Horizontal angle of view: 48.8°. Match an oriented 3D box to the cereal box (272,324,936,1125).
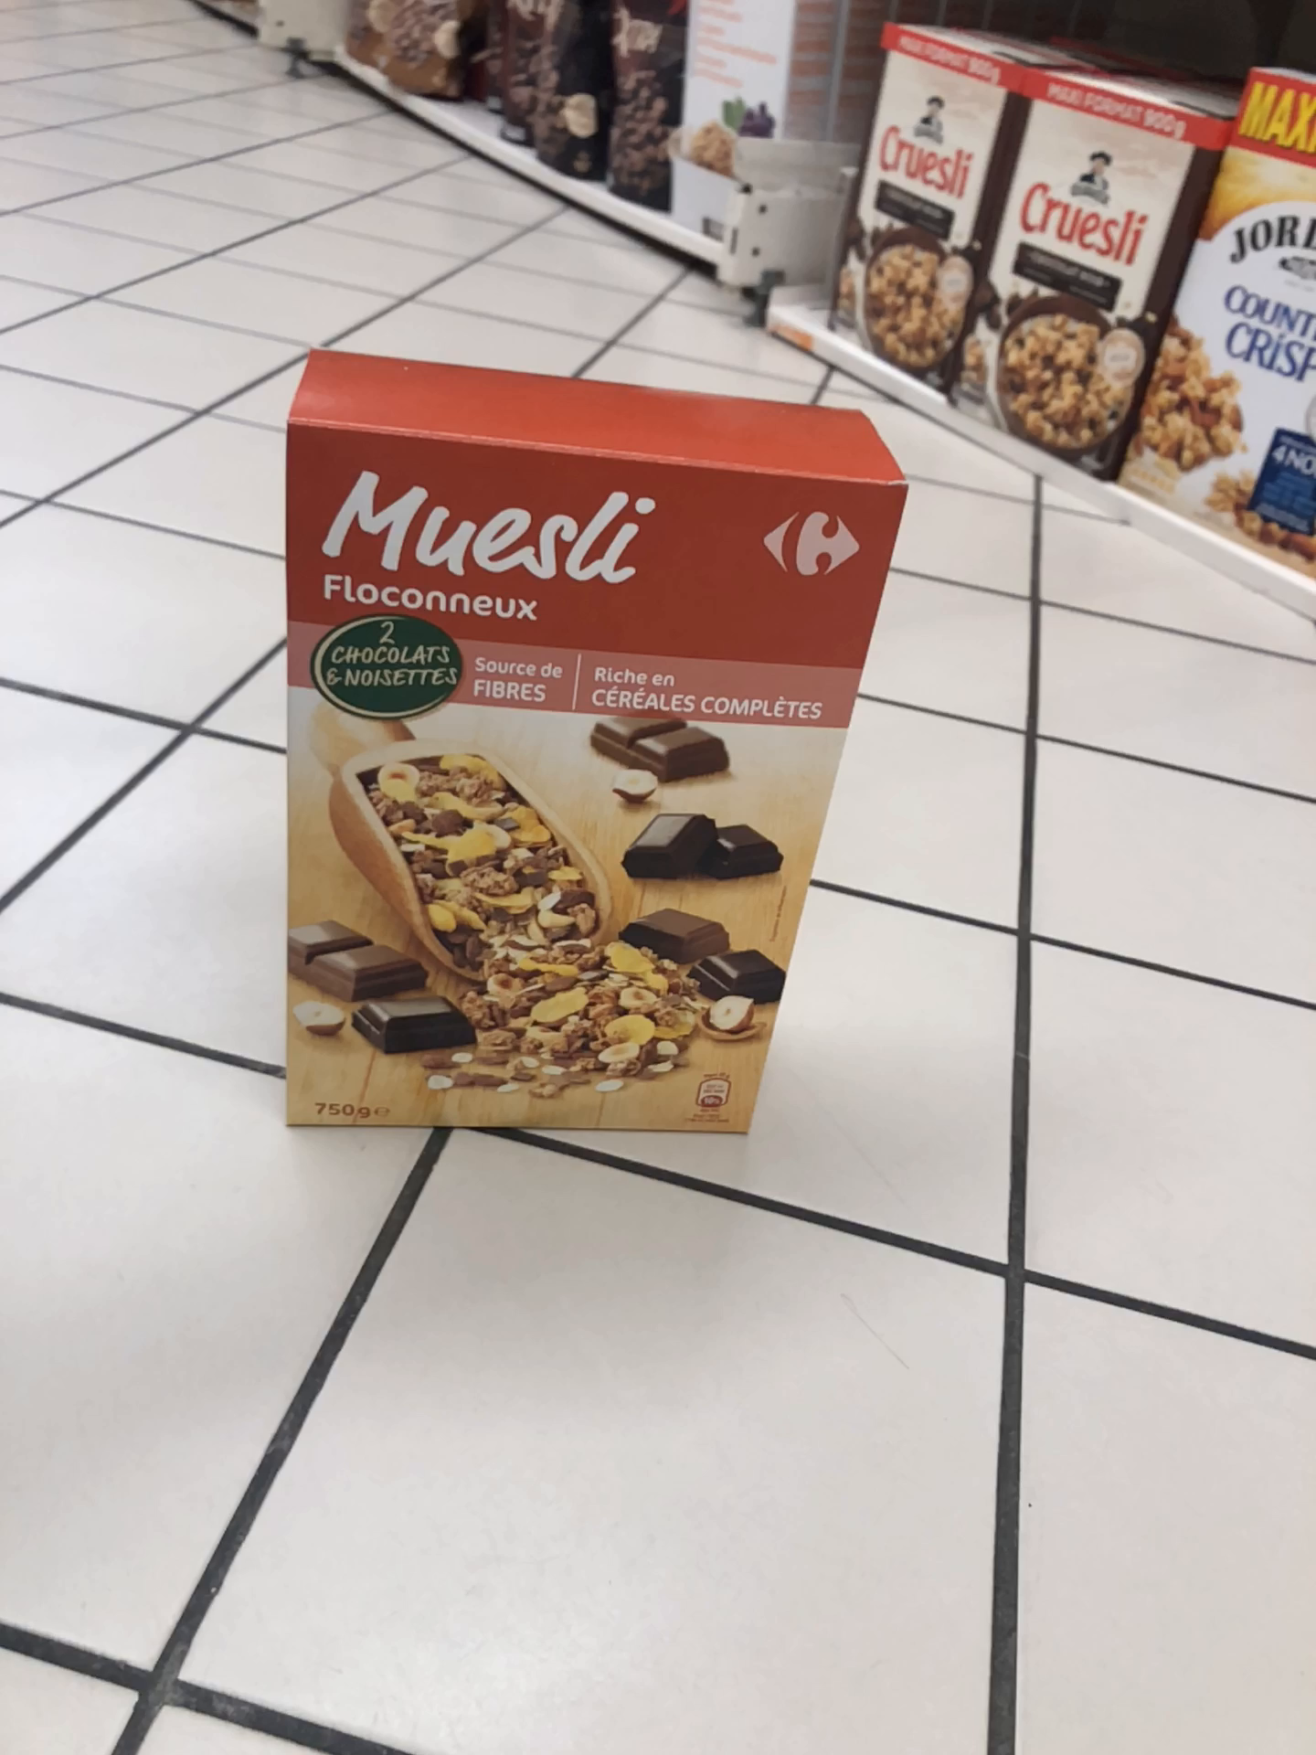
[{"bbox_3d":[-0.032,-0.034,0.466,0.170,0.239,0.070,3,34,-11],"label":"cereal box"}]
